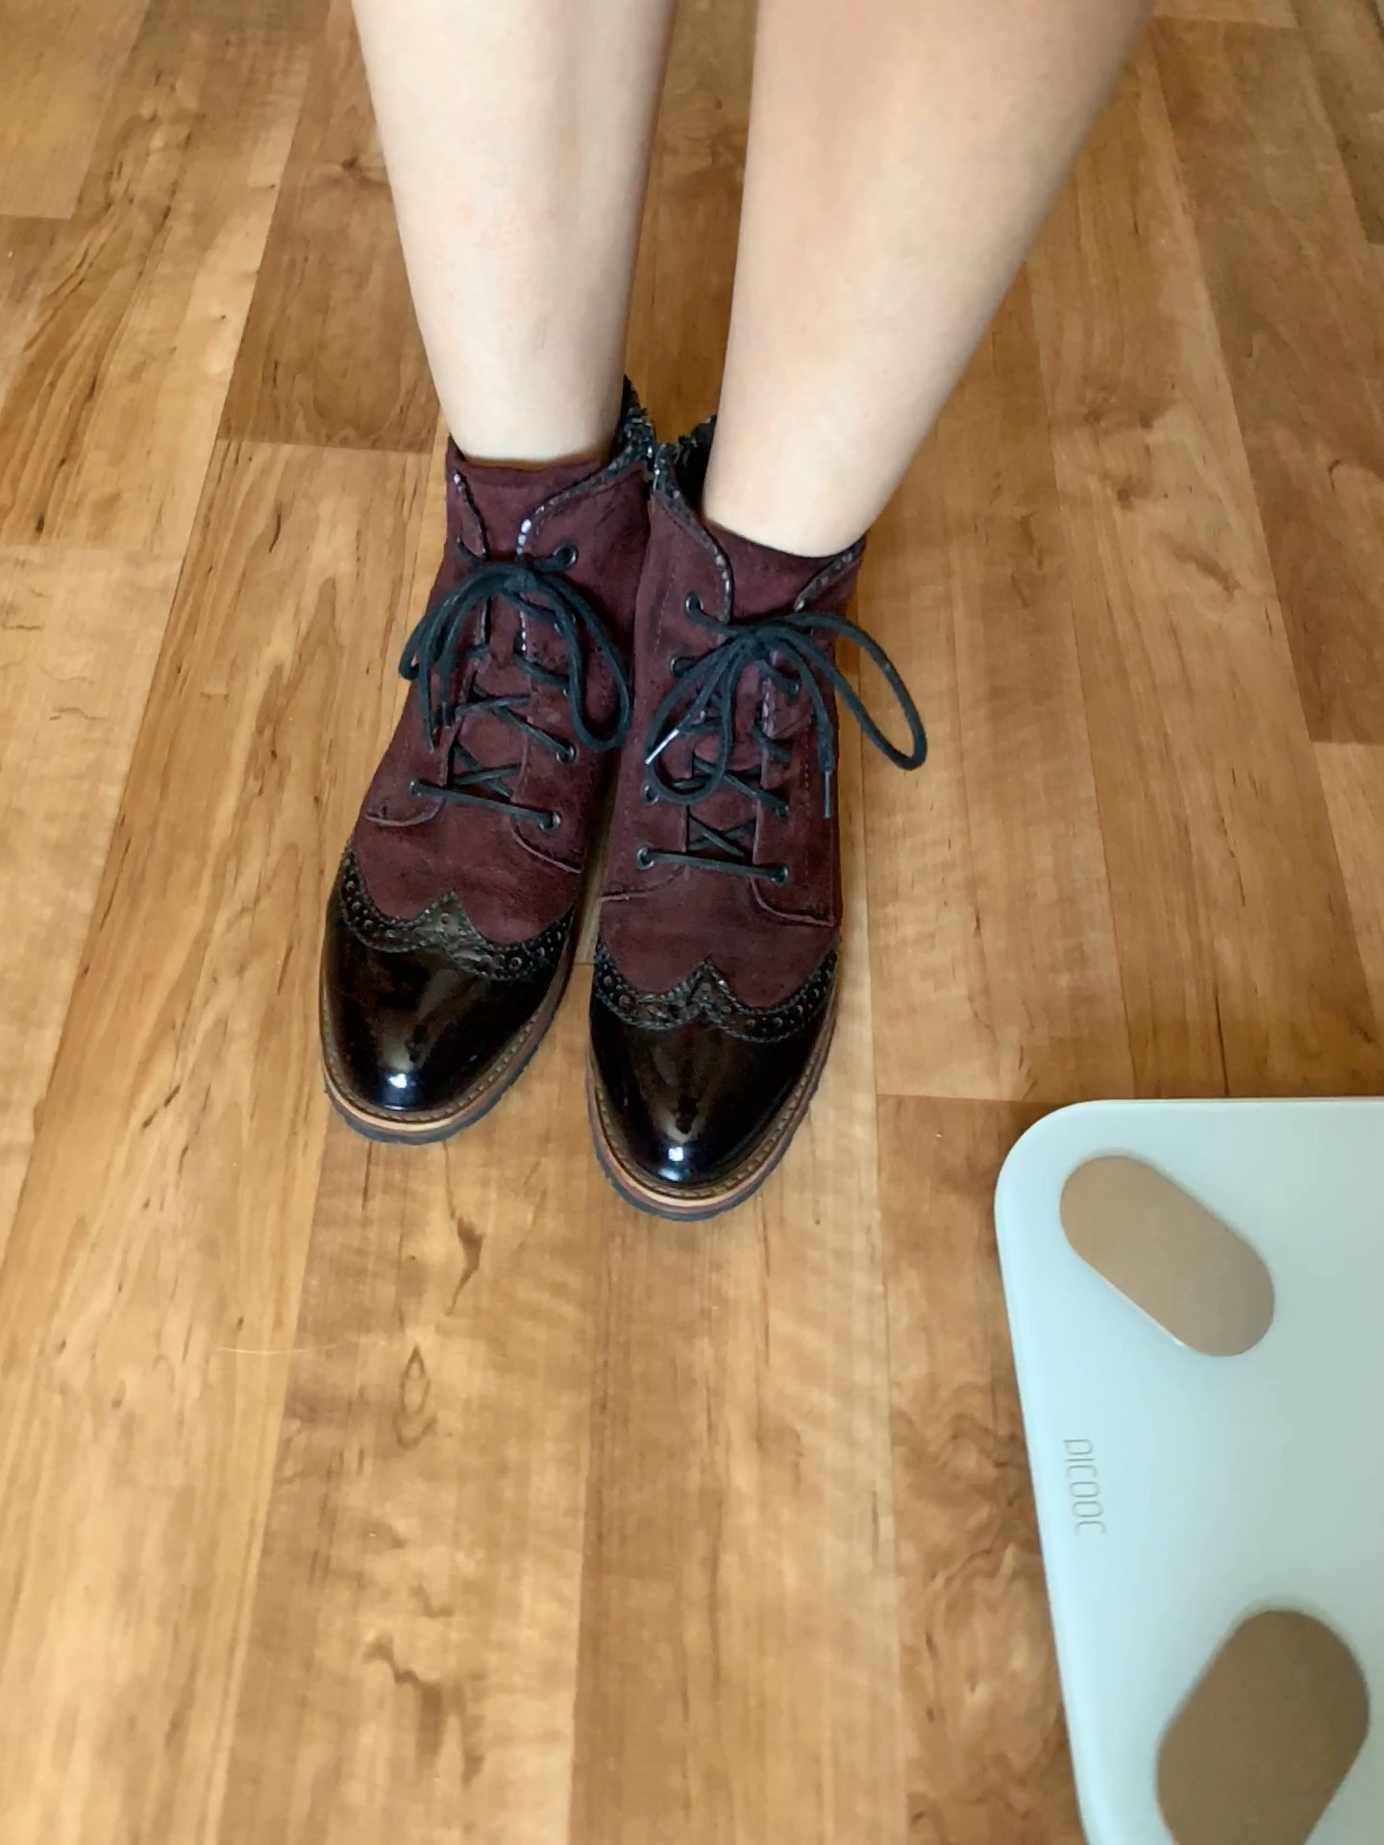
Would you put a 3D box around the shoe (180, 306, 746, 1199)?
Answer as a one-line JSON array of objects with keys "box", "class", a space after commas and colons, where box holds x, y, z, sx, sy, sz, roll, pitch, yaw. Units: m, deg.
[{"box": [-0.063, -0.060, 0.489, 0.100, 0.140, 0.260, 13, 61, 1], "class": "shoe"}]

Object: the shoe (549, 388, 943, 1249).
[{"box": [0.020, -0.037, 0.503, 0.100, 0.140, 0.260, 8, 61, -2], "class": "shoe"}]
